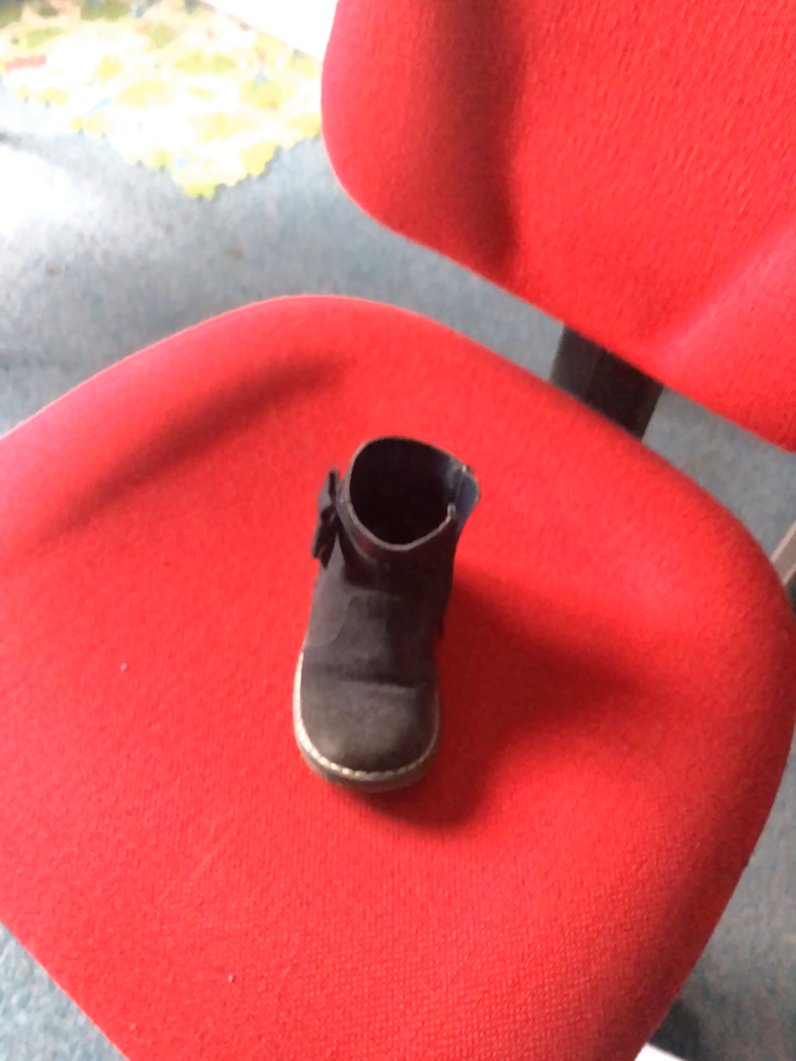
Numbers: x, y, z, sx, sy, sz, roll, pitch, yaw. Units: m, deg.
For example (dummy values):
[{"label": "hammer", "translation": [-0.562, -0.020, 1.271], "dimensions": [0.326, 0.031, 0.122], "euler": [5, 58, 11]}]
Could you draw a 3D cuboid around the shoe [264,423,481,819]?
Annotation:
[{"label": "shoe", "translation": [-0.010, 0.042, 0.409], "dimensions": [0.080, 0.100, 0.151], "euler": [2, 56, -1]}]
